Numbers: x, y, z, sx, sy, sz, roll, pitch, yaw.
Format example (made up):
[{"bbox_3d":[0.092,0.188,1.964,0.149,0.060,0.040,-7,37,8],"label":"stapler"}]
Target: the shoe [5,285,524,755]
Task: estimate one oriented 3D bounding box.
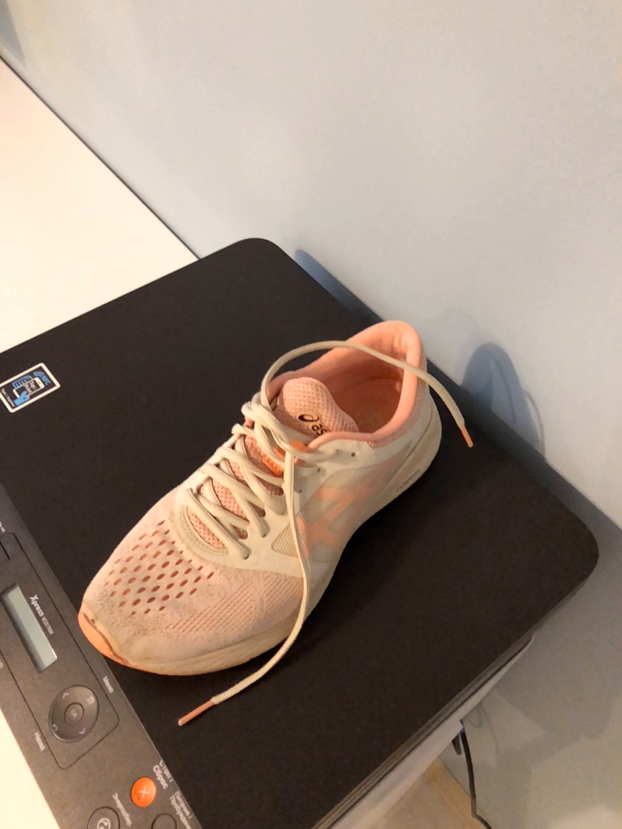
[{"bbox_3d":[-0.016,0.047,0.393,0.254,0.089,0.116,-35,62,-23],"label":"shoe"}]
